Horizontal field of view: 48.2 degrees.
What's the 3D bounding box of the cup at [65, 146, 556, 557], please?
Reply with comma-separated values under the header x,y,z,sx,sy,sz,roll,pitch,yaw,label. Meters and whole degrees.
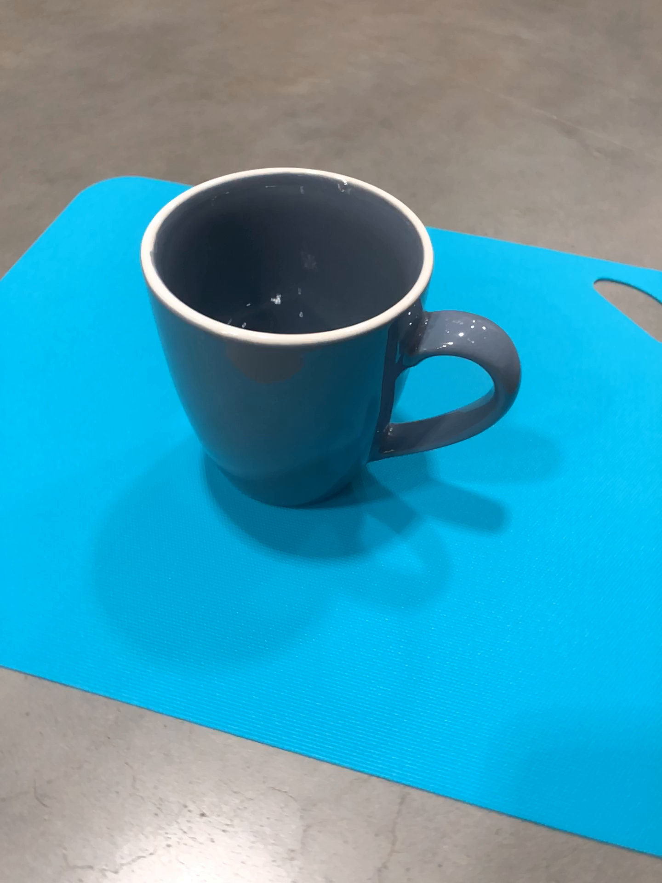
x,y,z,sx,sy,sz,roll,pitch,yaw,label
0.000,-0.032,0.251,0.130,0.080,0.090,10,50,6,cup
